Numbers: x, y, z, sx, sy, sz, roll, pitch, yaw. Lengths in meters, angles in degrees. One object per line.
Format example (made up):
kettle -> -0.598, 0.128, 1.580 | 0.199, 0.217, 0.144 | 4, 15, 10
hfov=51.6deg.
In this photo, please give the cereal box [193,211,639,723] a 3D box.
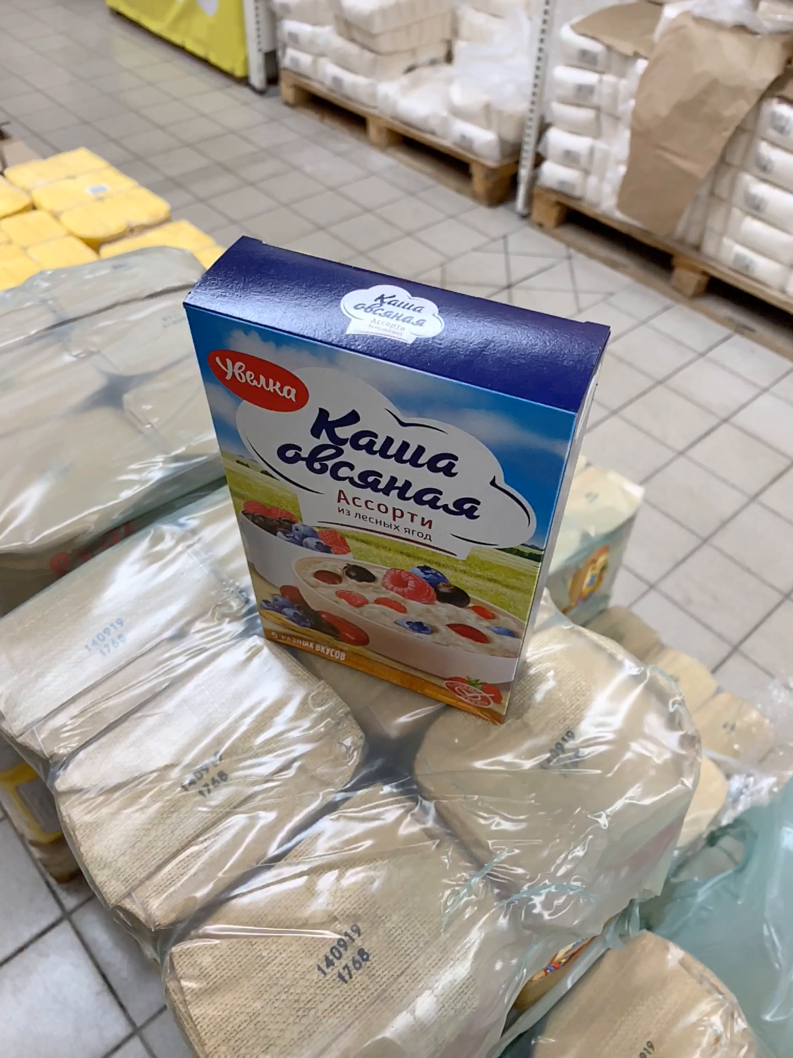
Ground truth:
cereal box -> 0.004, -0.010, 0.332 | 0.130, 0.198, 0.050 | 17, 52, 12
